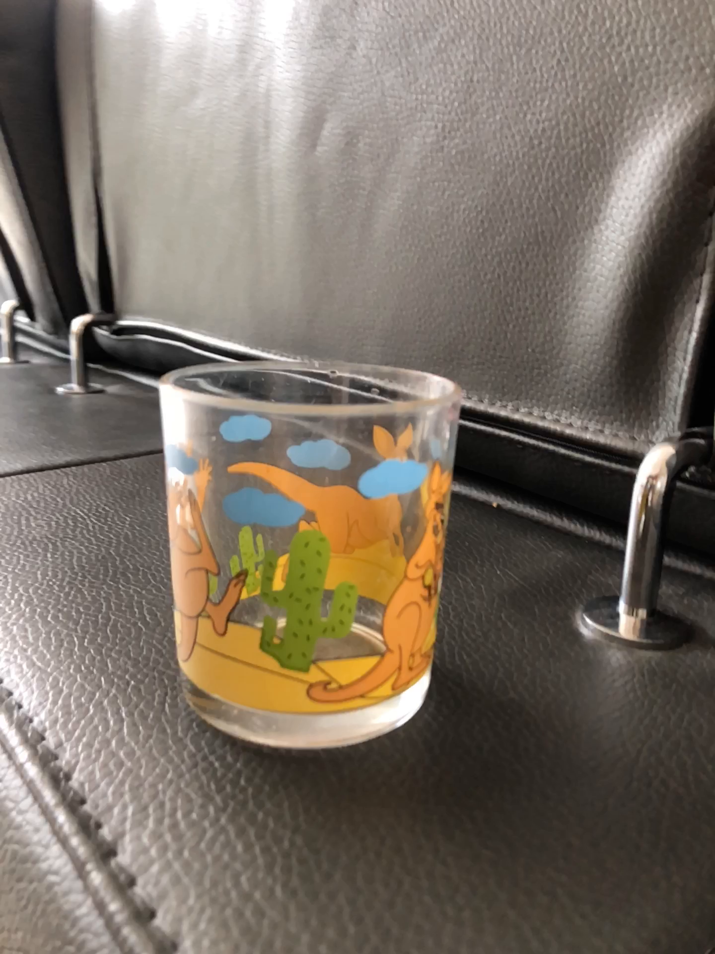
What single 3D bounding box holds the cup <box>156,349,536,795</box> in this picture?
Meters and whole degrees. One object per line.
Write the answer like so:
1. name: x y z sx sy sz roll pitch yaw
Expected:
1. cup: -0.010 0.013 0.196 0.070 0.080 0.080 -3 16 -17
